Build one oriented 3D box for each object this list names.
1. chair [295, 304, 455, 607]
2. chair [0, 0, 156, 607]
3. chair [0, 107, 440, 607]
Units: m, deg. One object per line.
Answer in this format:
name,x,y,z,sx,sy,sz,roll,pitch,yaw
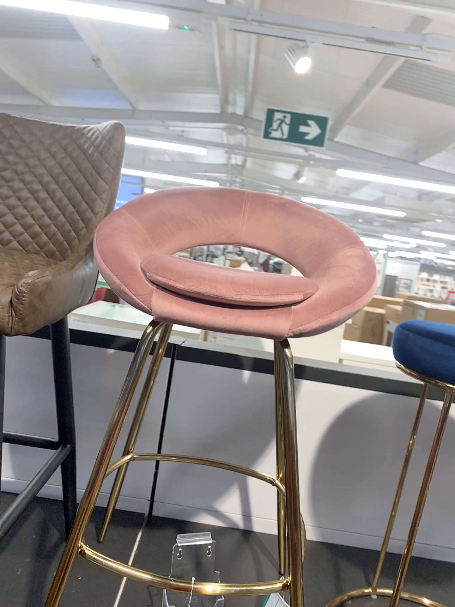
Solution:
chair,0.411,0.365,0.826,0.462,0.619,0.432,9,6,4
chair,-0.474,0.070,0.842,0.502,0.959,0.452,9,5,-2
chair,-0.027,0.183,0.857,0.492,0.859,0.462,9,6,4
